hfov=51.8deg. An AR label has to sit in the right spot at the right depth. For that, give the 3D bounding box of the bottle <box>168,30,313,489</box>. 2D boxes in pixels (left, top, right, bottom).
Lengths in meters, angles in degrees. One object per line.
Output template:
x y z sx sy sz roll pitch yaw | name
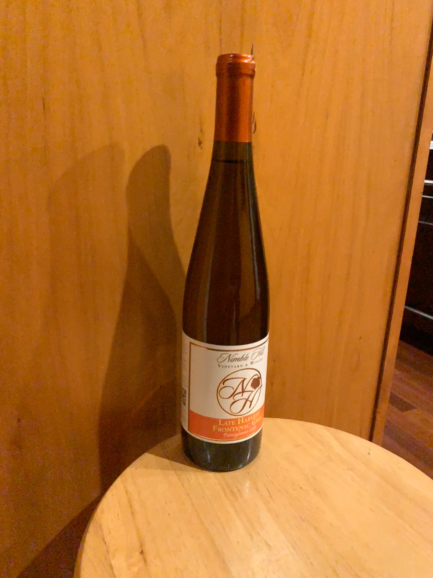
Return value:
0.010 -0.009 0.355 0.080 0.329 0.060 -7 19 -26 | bottle
